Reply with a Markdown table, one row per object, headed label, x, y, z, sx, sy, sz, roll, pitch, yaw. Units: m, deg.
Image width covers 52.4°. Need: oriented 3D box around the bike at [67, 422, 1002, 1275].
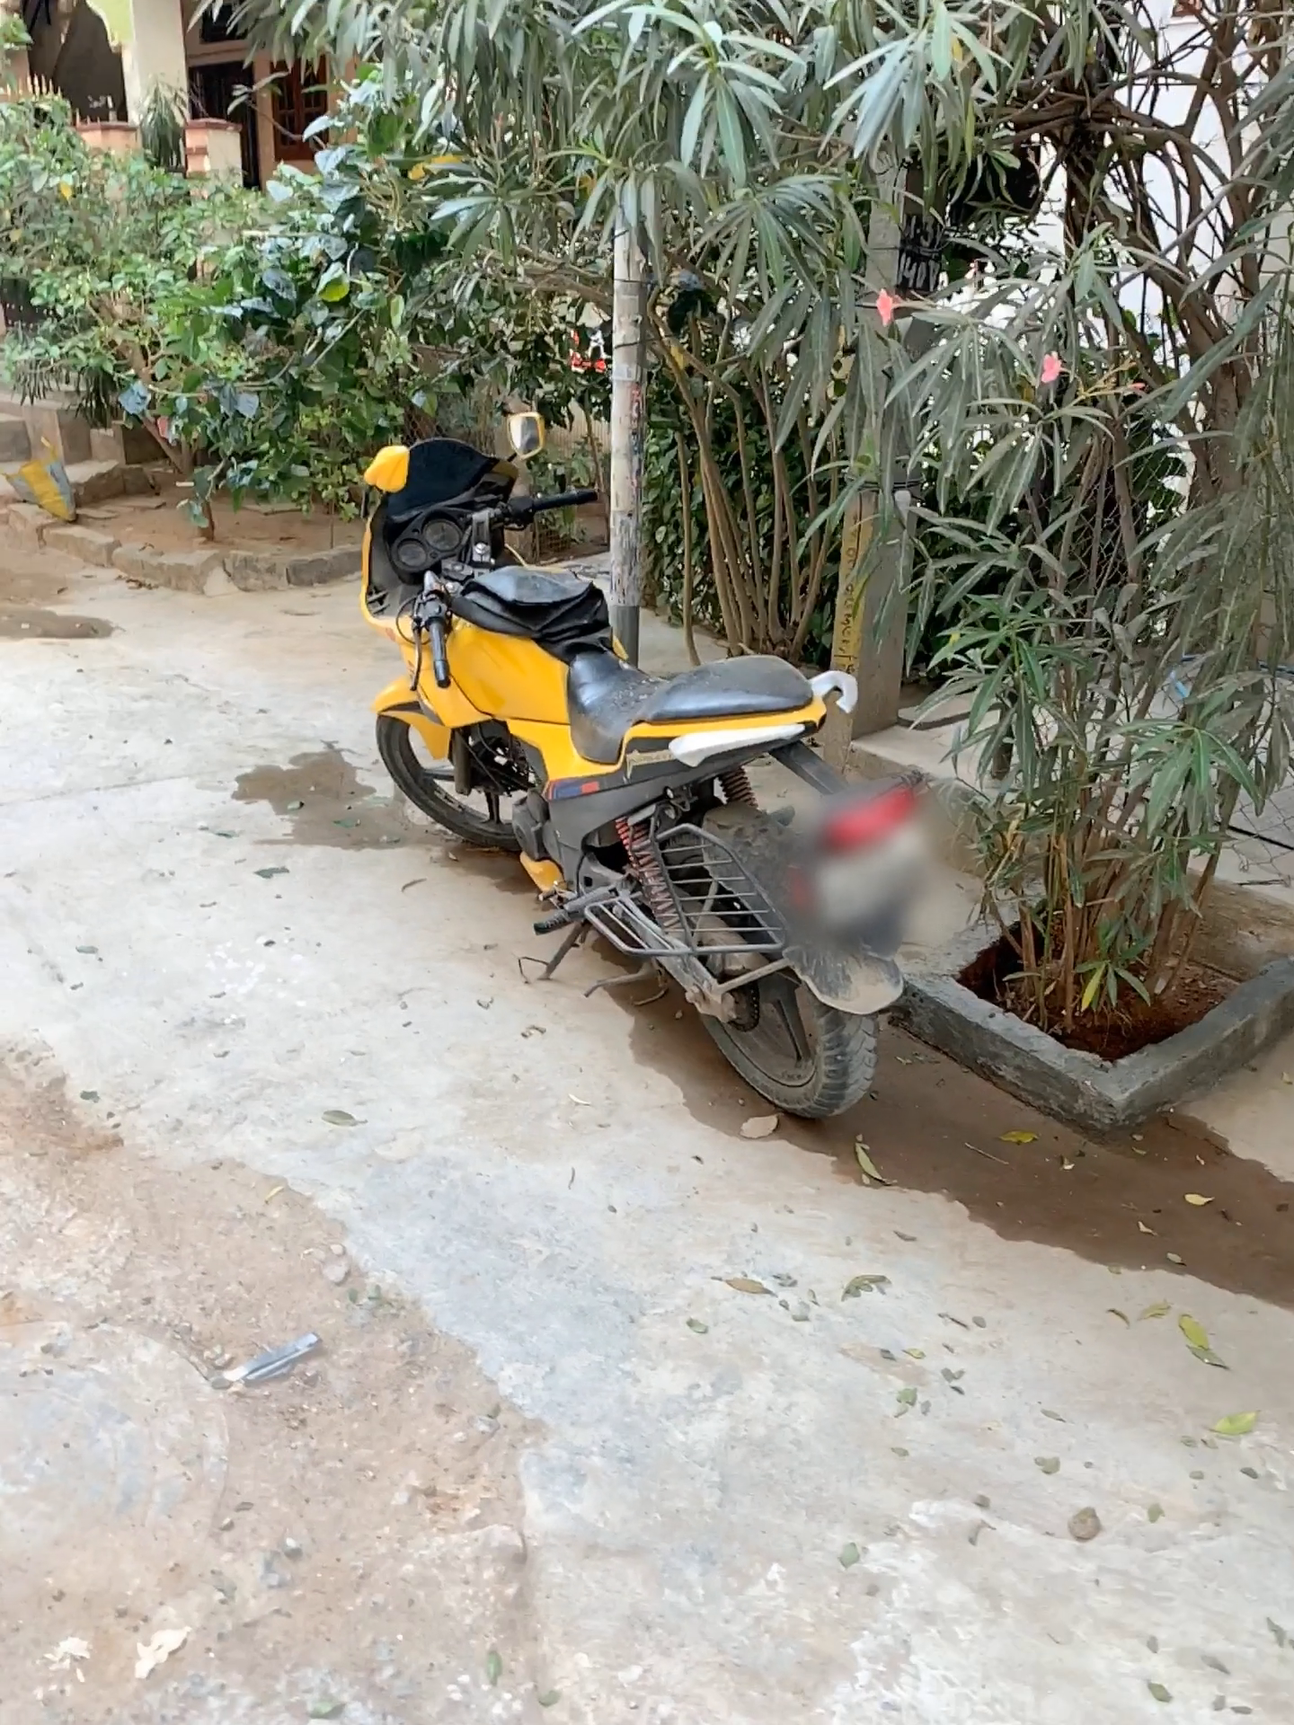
| label | x | y | z | sx | sy | sz | roll | pitch | yaw |
| --- | --- | --- | --- | --- | --- | --- | --- | --- | --- |
| bike | -0.365 | -0.226 | 2.661 | 0.854 | 0.954 | 1.752 | -15 | 33 | -35 |
